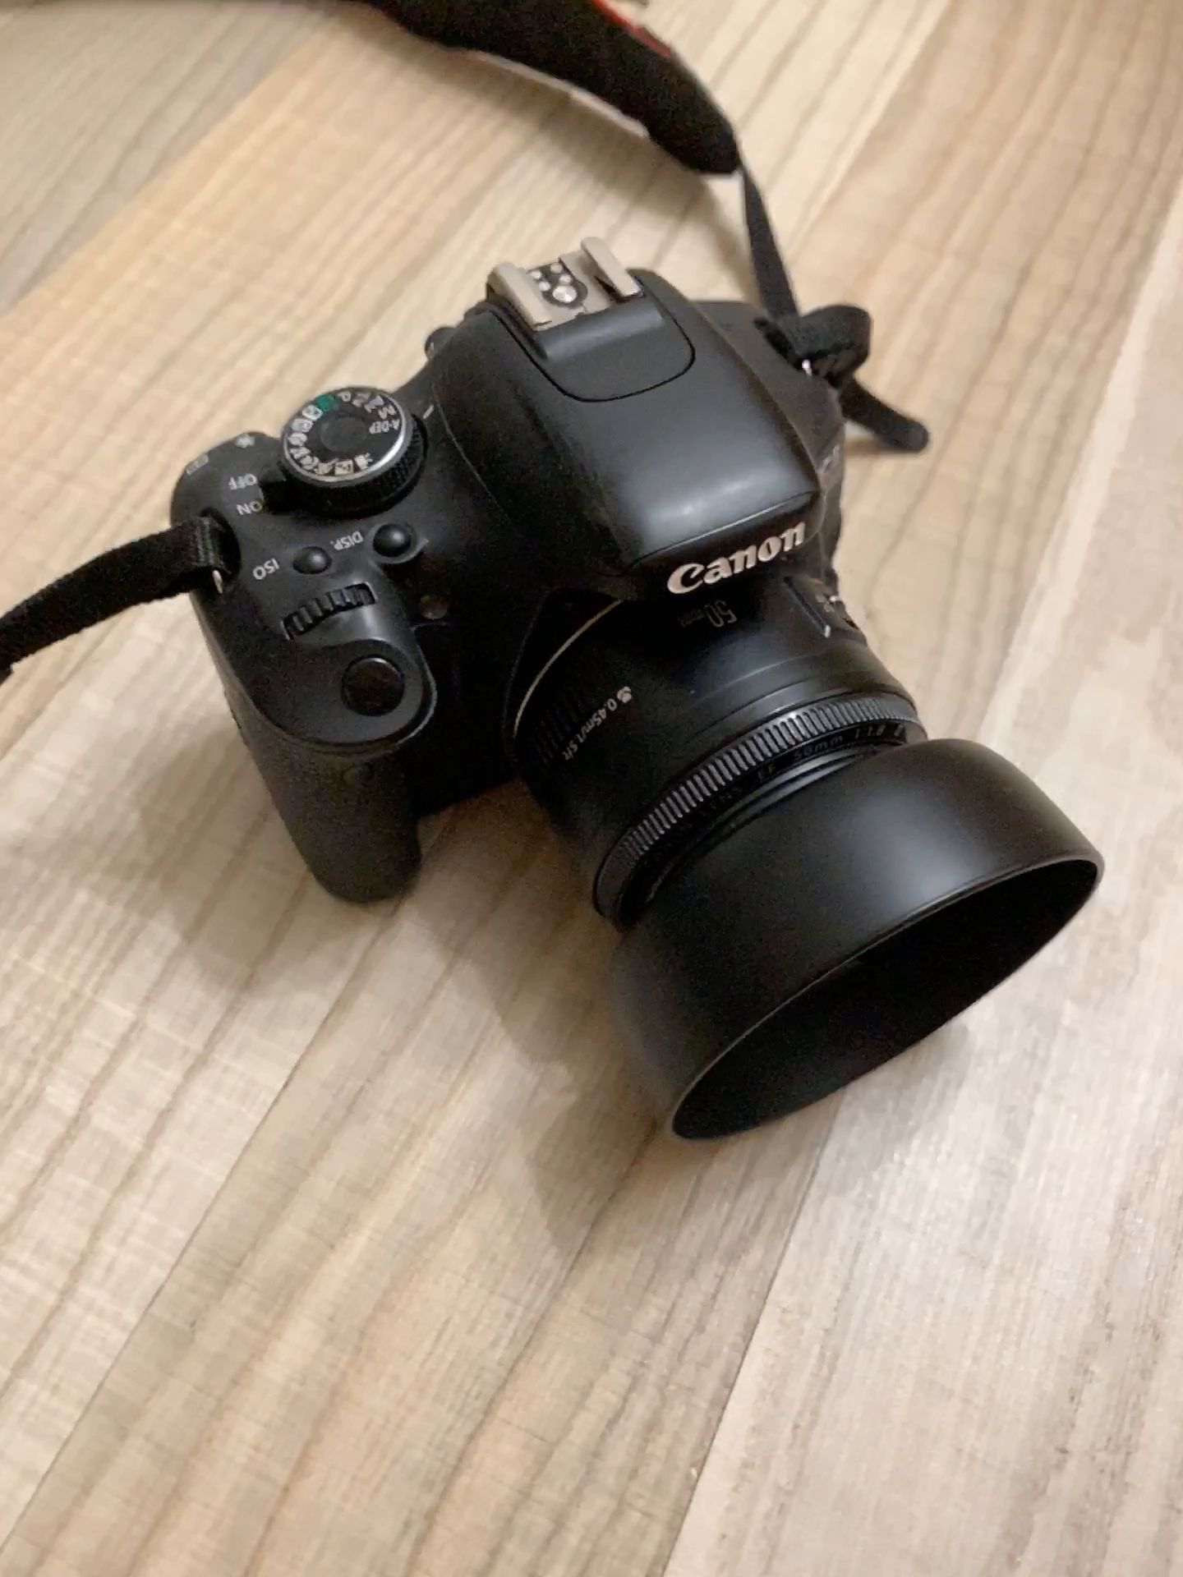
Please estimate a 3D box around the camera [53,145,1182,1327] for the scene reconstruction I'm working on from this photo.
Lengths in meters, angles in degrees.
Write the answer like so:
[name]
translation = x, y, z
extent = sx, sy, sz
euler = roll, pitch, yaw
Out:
[camera]
translation = 0.007, -0.016, 0.224
extent = 0.139, 0.090, 0.151
euler = -23, 62, -14
